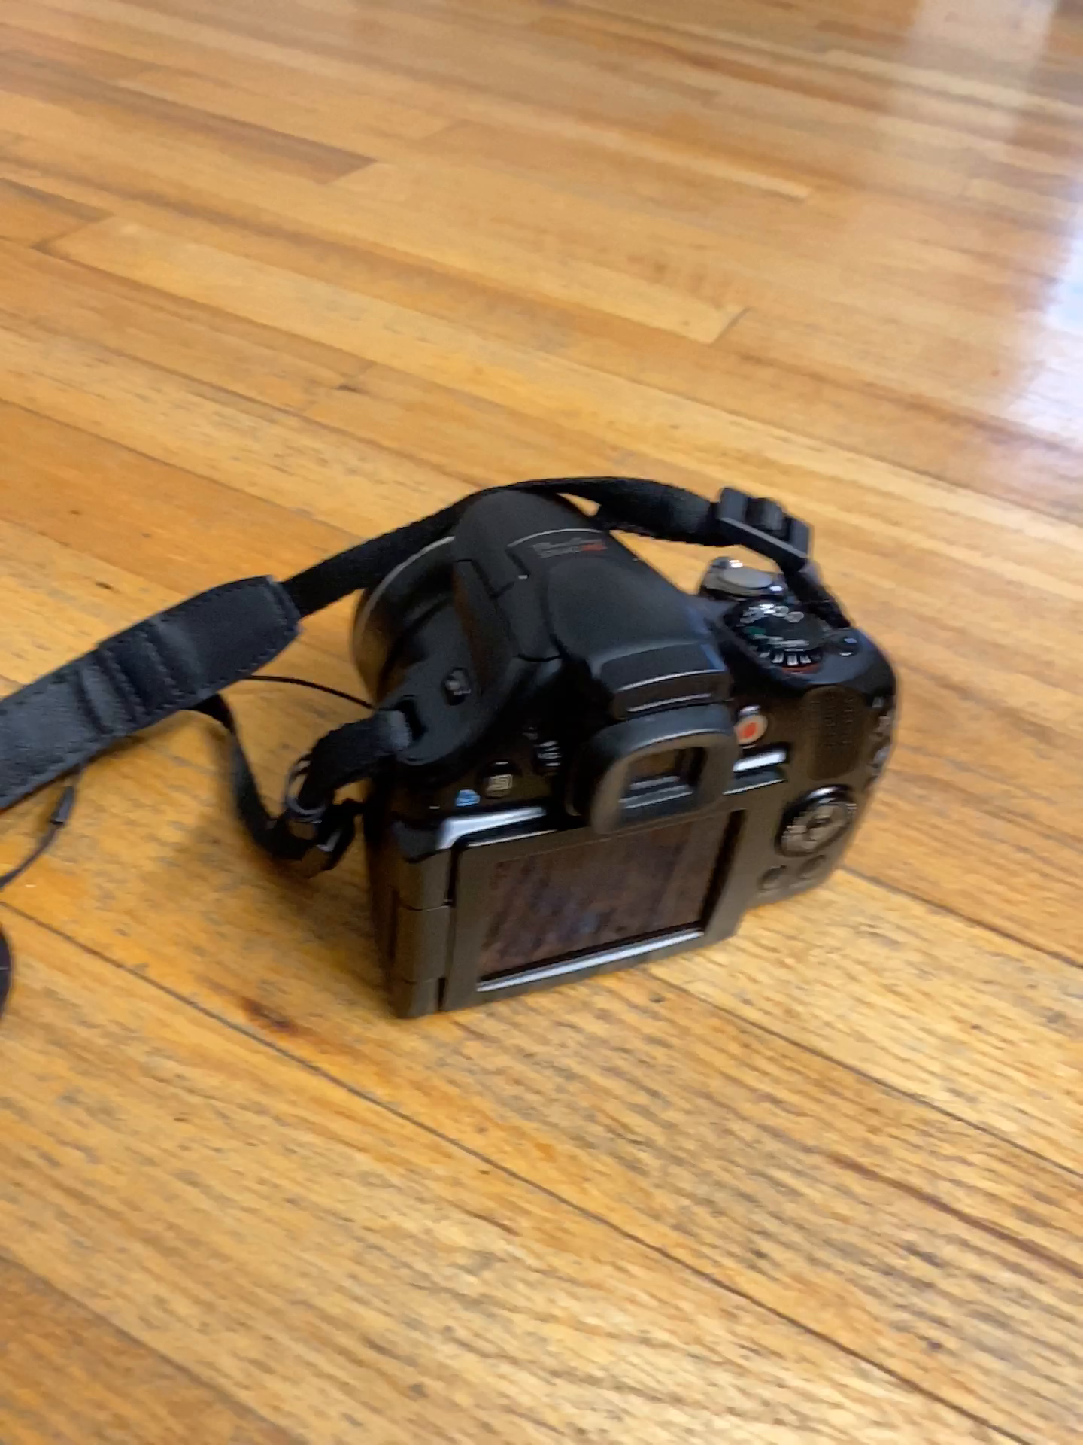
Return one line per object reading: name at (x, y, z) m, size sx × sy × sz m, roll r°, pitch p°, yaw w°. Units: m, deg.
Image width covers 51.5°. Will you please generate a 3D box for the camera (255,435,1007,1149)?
camera at (0.006, 0.006, 0.263) m, size 0.120 × 0.089 × 0.121 m, roll -9°, pitch 45°, yaw -19°
